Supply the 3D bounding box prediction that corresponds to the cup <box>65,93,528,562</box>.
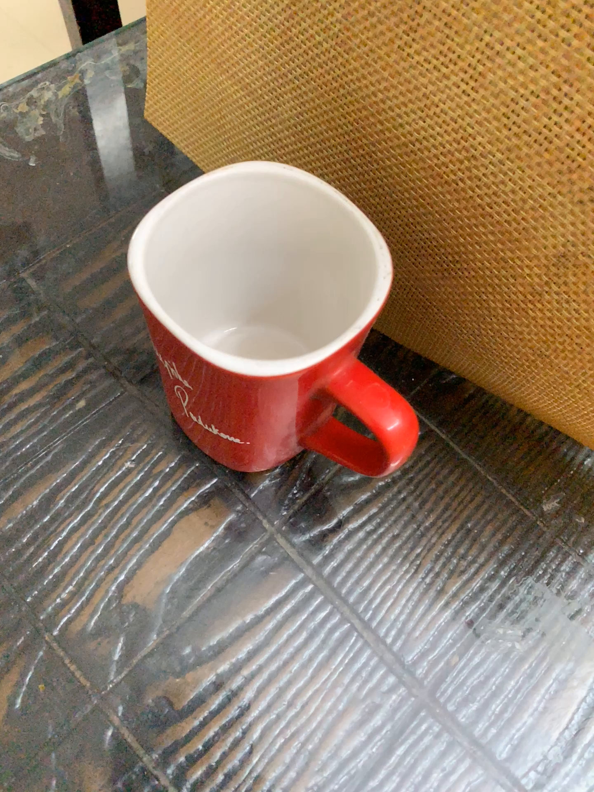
[{"bbox_3d":[-0.004,-0.018,0.193,0.070,0.080,0.100,-37,73,-21],"label":"cup"}]
